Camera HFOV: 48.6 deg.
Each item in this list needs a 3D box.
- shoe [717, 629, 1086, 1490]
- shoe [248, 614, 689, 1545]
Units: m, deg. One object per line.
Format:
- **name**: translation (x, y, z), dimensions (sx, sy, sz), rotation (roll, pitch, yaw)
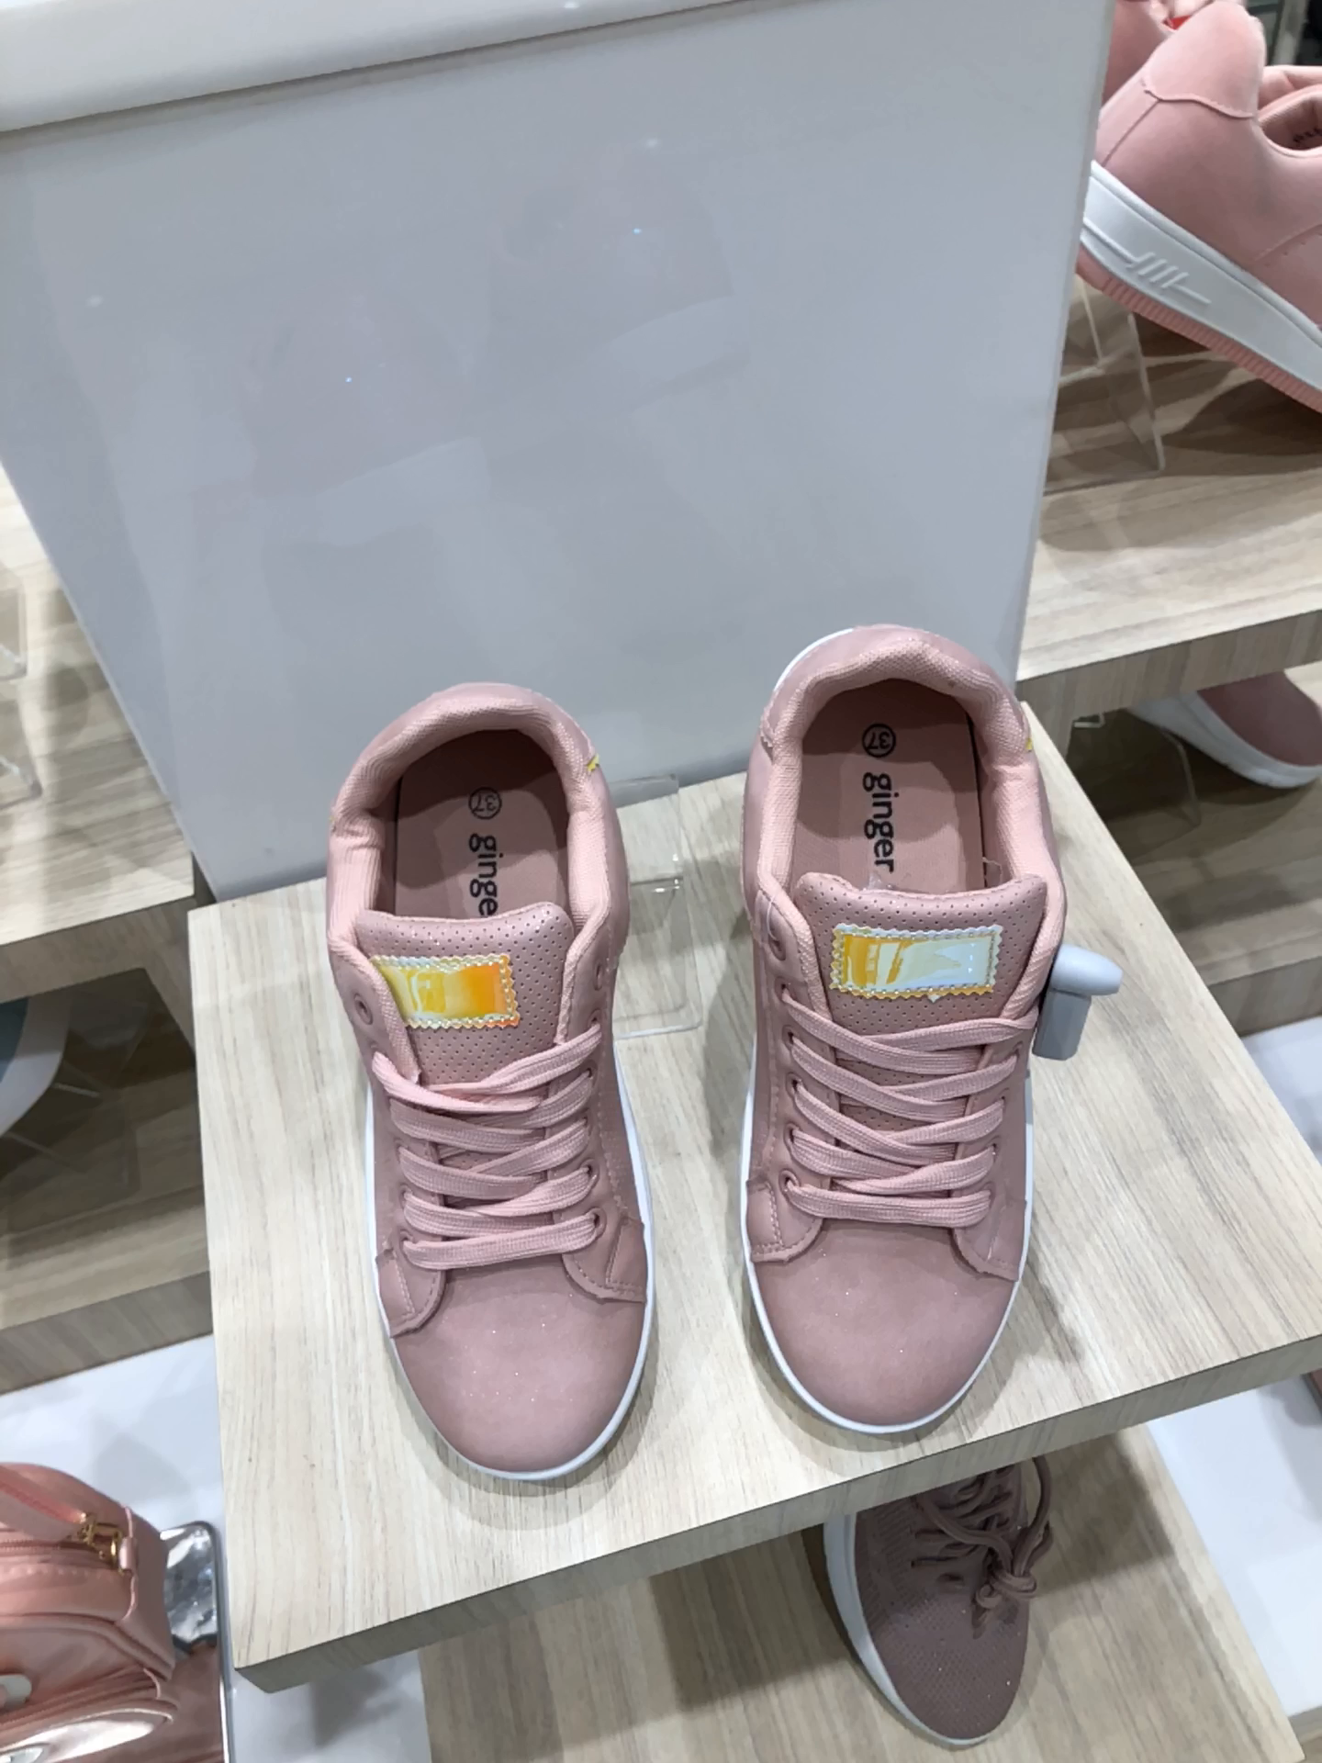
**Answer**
- **shoe**: translation (0.073, 0.047, 0.470), dimensions (0.100, 0.250, 0.100), rotation (1, 8, 7)
- **shoe**: translation (-0.055, 0.057, 0.470), dimensions (0.100, 0.100, 0.260), rotation (-5, 90, 4)
